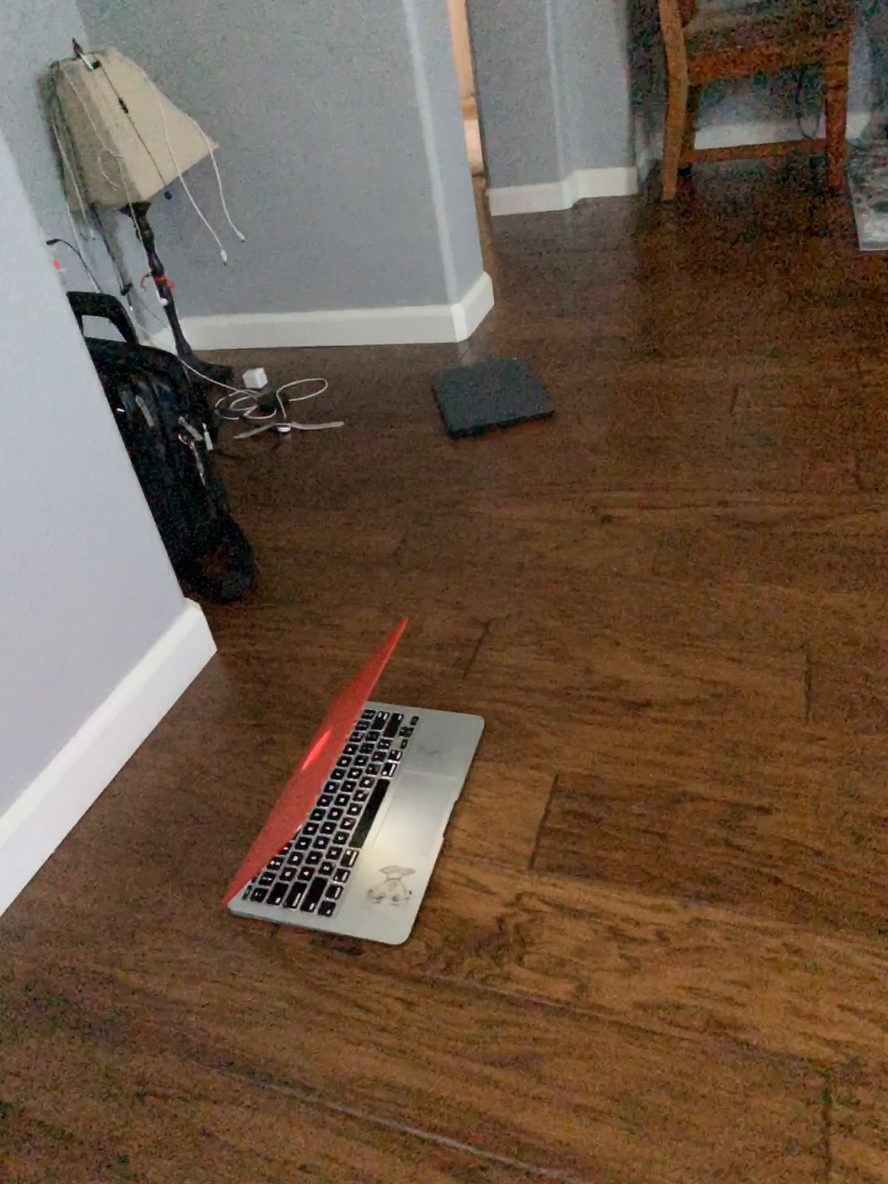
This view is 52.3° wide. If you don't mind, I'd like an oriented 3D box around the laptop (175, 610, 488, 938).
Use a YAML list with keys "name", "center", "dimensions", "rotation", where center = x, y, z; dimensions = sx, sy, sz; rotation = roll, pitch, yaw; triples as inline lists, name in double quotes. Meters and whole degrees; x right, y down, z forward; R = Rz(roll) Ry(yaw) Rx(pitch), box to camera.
- name: "laptop"
  center: [-0.094, 0.167, 0.932]
  dimensions: [0.198, 0.139, 0.303]
  rotation: [3, 35, 17]
